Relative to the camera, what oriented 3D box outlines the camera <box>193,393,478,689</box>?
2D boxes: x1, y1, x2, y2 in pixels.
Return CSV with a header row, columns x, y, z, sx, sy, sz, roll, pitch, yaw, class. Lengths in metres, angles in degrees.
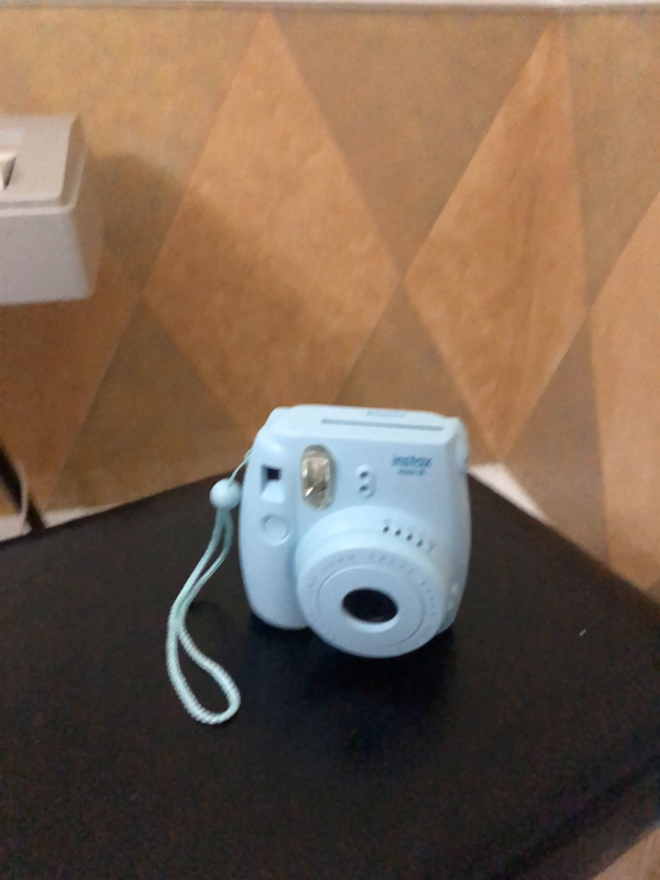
x,y,z,sx,sy,sz,roll,pitch,yaw,class
0.006,0.048,0.361,0.120,0.118,0.068,4,29,7,camera
